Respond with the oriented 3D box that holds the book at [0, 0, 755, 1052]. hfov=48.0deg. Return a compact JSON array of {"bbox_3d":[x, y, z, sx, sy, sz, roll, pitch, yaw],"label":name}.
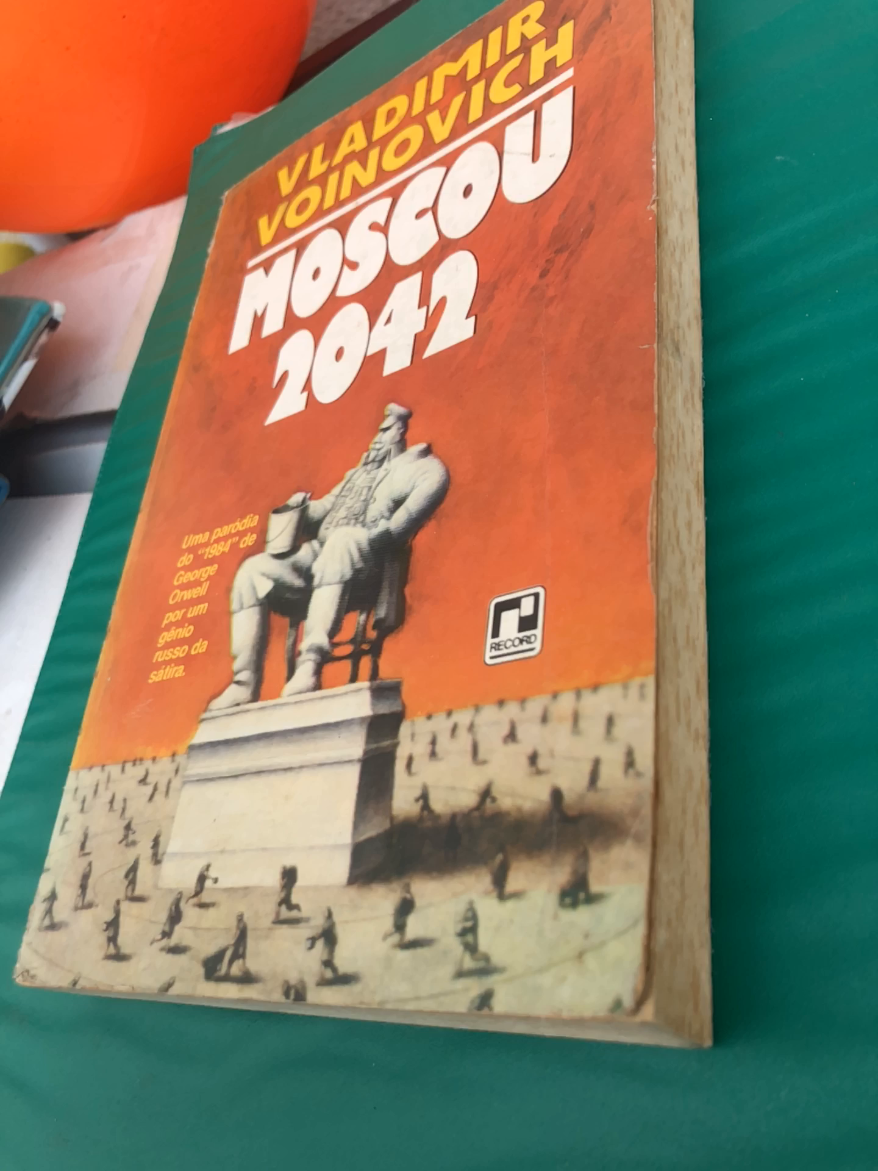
[{"bbox_3d":[-0.012,-0.027,0.192,0.132,0.020,0.204,-14,57,35],"label":"book"}]
